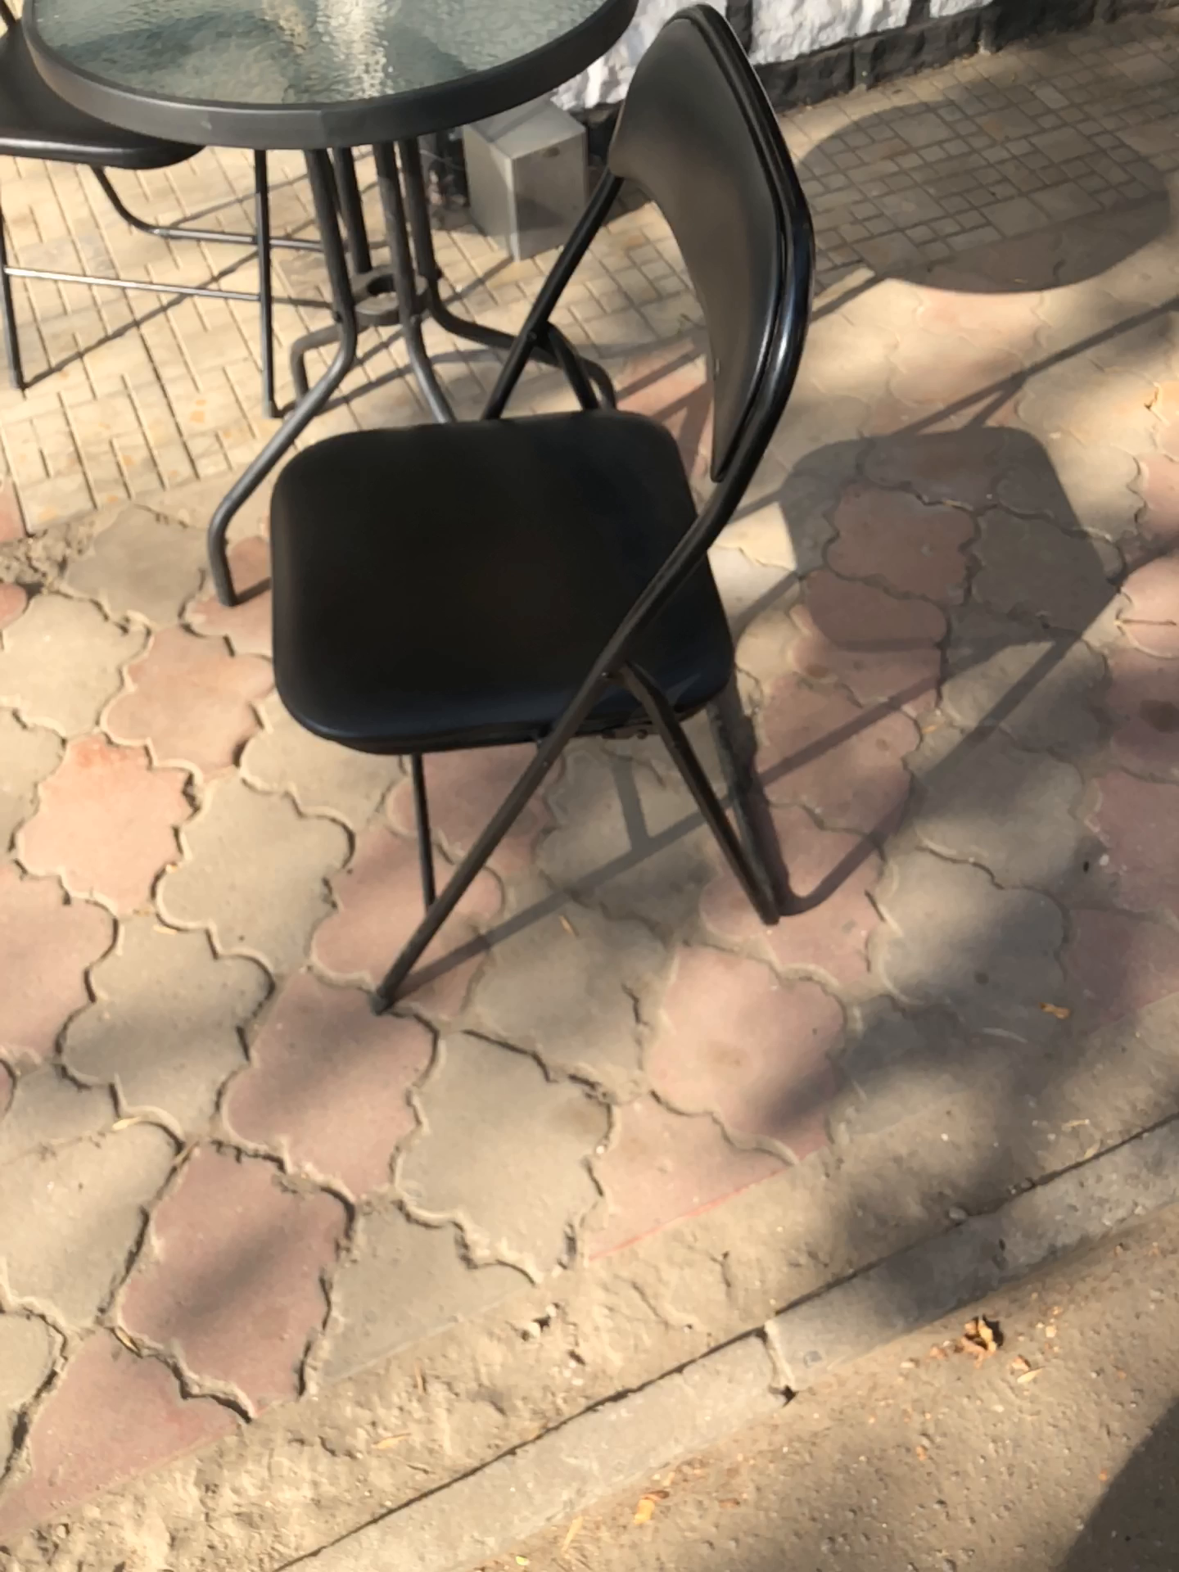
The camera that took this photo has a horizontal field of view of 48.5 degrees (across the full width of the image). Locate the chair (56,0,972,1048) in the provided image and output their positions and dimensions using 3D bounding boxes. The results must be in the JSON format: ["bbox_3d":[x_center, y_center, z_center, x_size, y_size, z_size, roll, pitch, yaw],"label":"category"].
[{"bbox_3d":[-0.071,-0.205,1.117,0.500,0.638,0.532,-10,52,-5],"label":"chair"}]
